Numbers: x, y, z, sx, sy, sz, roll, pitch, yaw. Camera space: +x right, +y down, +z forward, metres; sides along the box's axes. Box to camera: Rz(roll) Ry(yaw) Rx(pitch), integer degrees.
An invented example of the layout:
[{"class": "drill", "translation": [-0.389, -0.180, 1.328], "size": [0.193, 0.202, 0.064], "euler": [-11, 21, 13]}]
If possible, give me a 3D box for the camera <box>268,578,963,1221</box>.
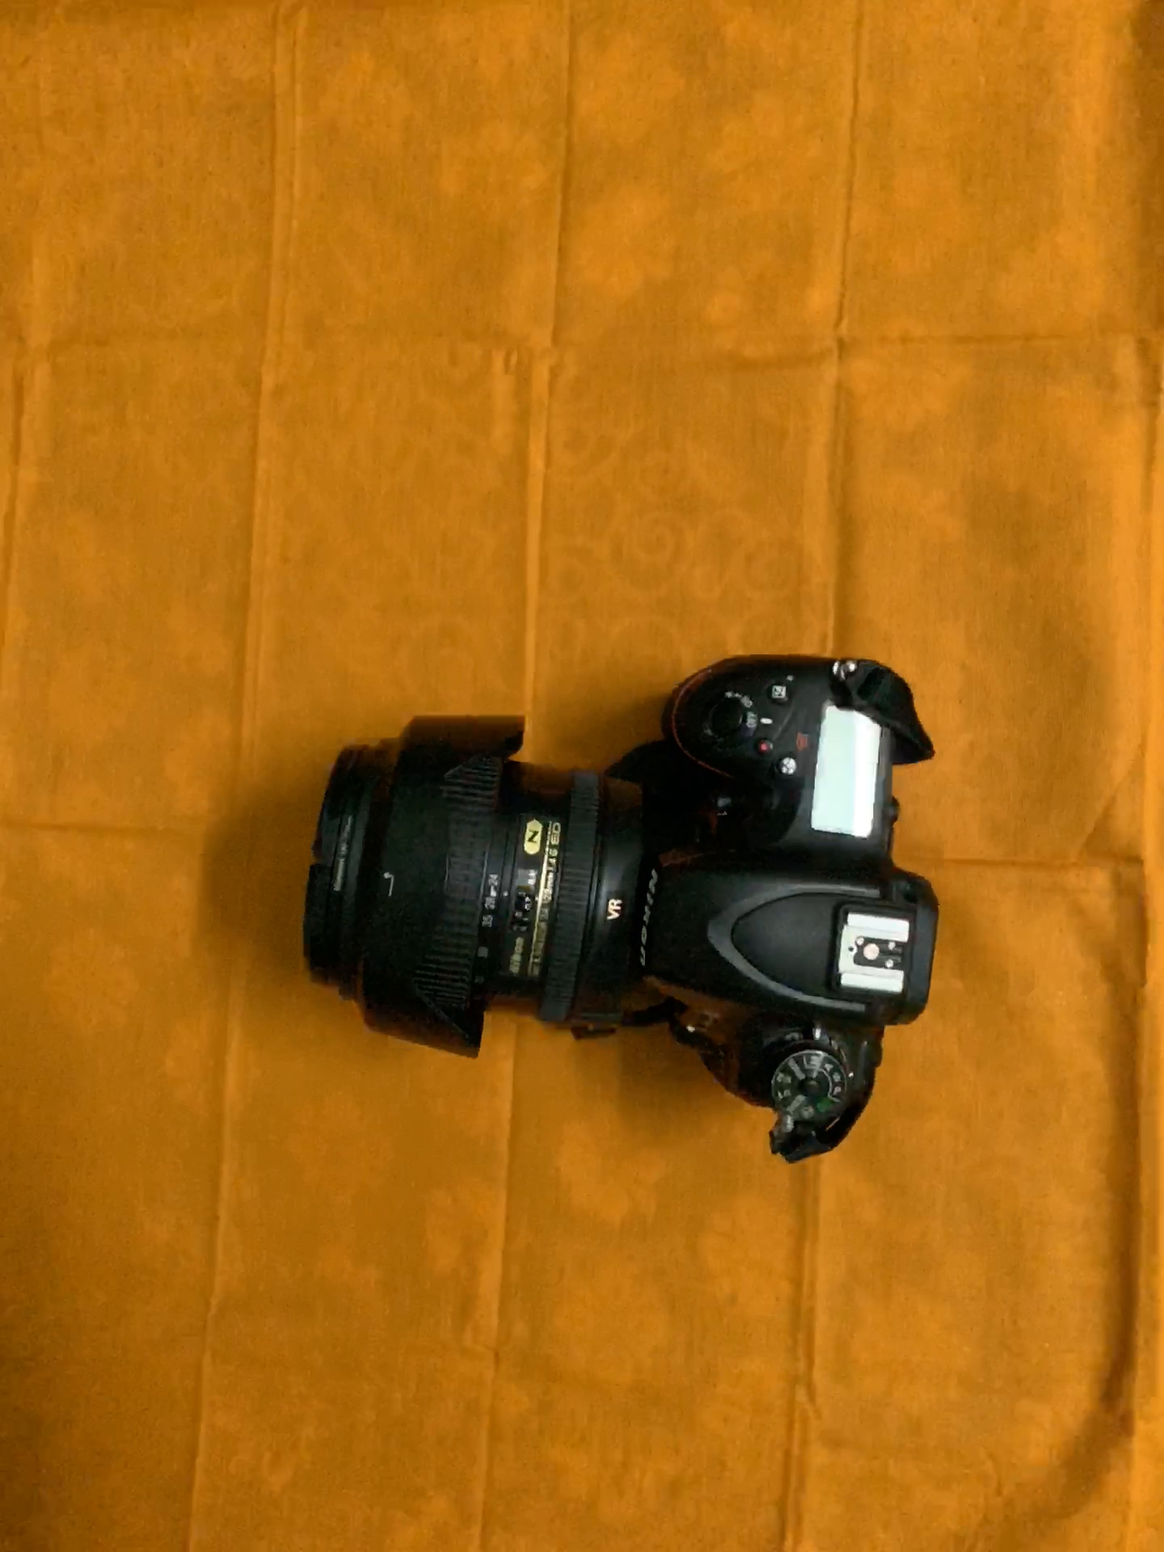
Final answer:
[{"class": "camera", "translation": [0.014, 0.031, 0.366], "size": [0.170, 0.110, 0.151], "euler": [5, 87, 9]}]
